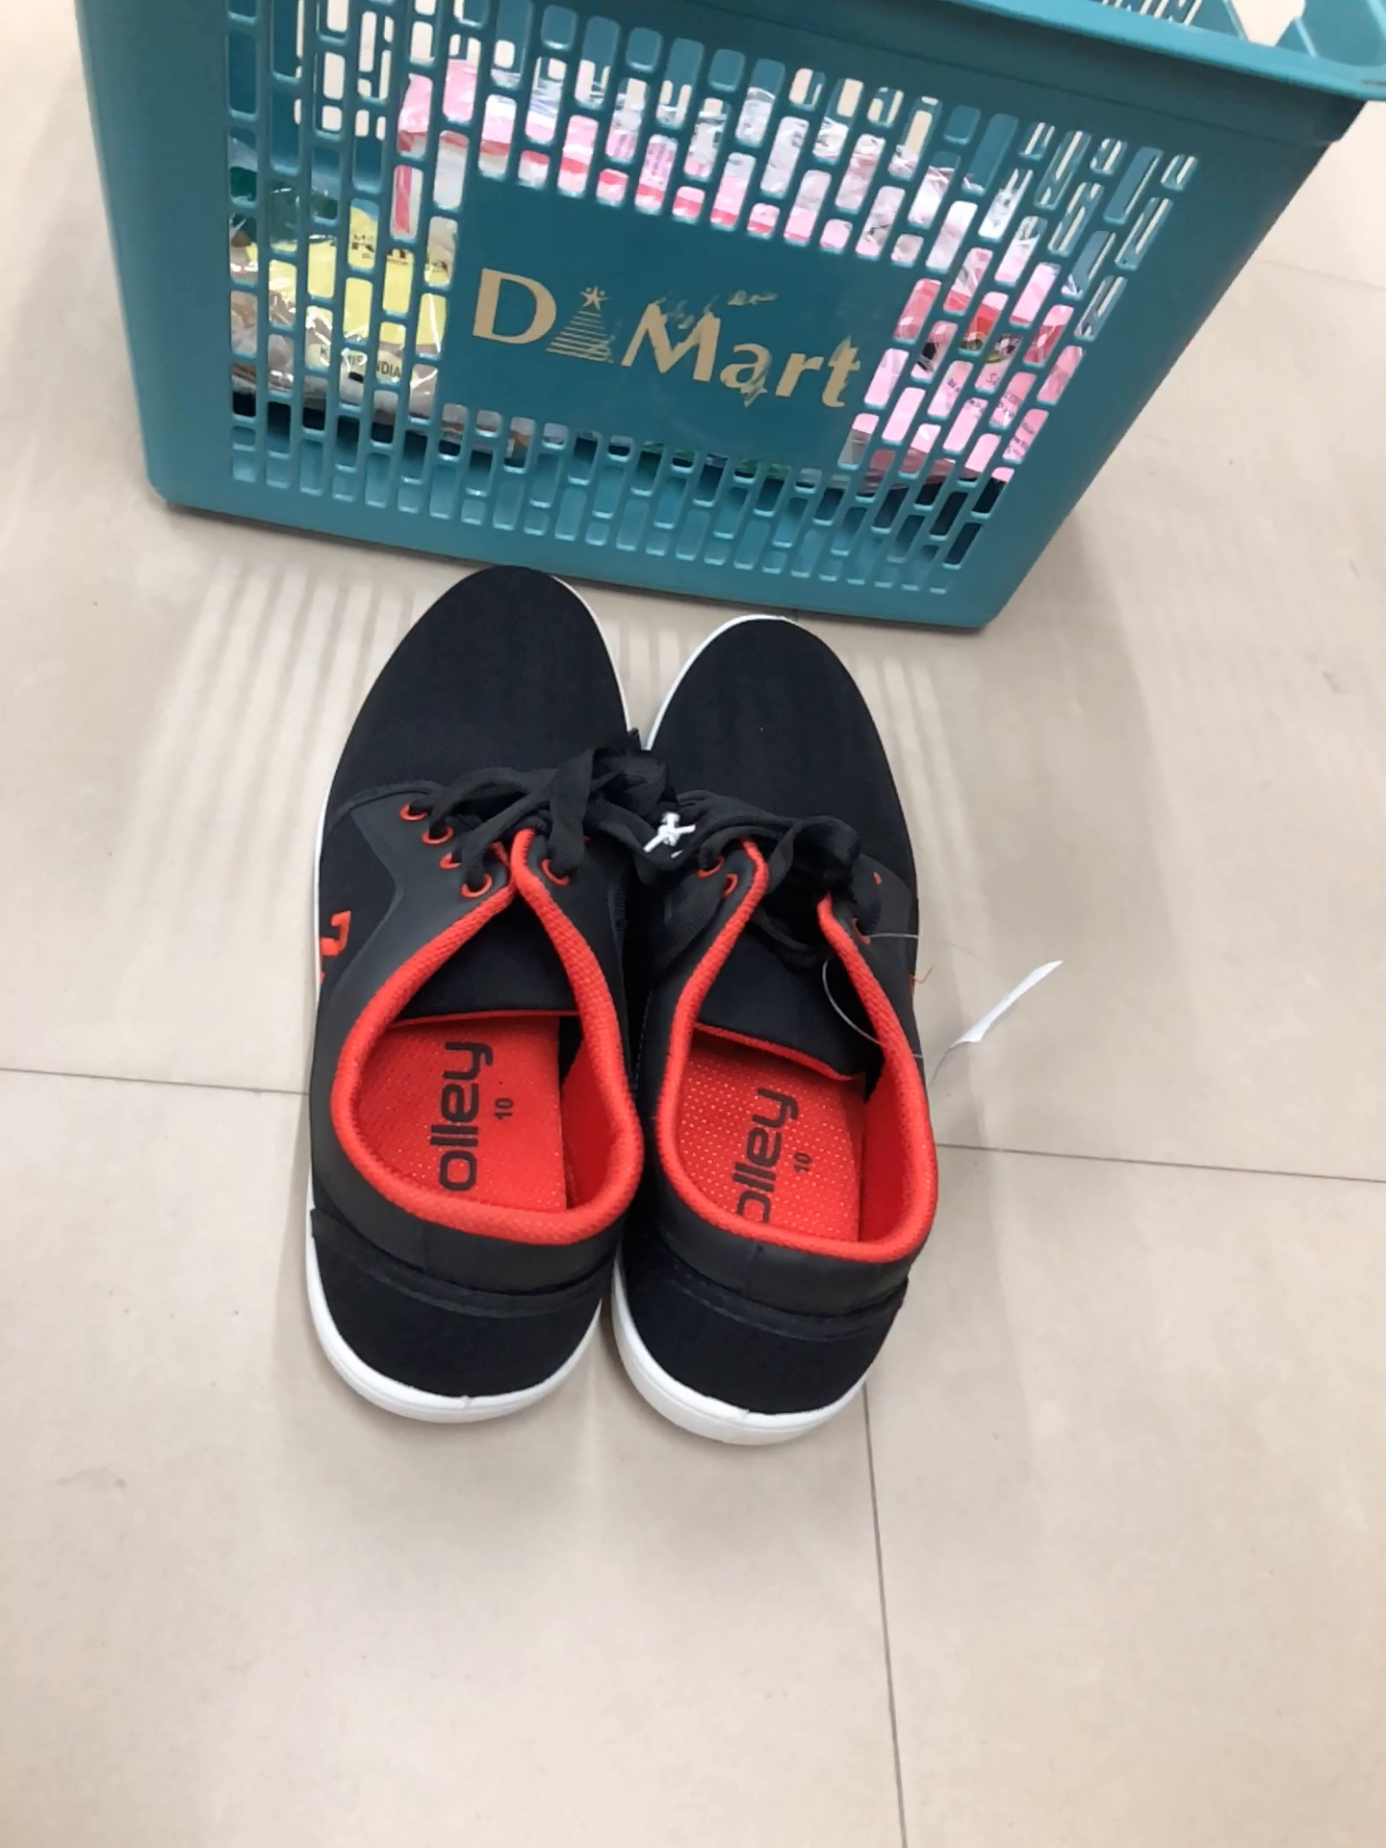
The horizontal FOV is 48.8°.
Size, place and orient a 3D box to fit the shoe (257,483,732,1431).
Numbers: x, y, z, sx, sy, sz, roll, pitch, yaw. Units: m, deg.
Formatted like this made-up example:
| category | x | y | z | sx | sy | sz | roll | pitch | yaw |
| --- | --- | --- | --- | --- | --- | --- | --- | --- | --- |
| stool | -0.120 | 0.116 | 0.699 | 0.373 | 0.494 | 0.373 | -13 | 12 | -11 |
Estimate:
| category | x | y | z | sx | sy | sz | roll | pitch | yaw |
| --- | --- | --- | --- | --- | --- | --- | --- | --- | --- |
| shoe | -0.063 | 0.004 | 0.456 | 0.105 | 0.102 | 0.261 | 5 | 55 | -14 |

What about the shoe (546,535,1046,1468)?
| category | x | y | z | sx | sy | sz | roll | pitch | yaw |
| --- | --- | --- | --- | --- | --- | --- | --- | --- | --- |
| shoe | 0.030 | 0.016 | 0.476 | 0.105 | 0.102 | 0.261 | 11 | 54 | -10 |
